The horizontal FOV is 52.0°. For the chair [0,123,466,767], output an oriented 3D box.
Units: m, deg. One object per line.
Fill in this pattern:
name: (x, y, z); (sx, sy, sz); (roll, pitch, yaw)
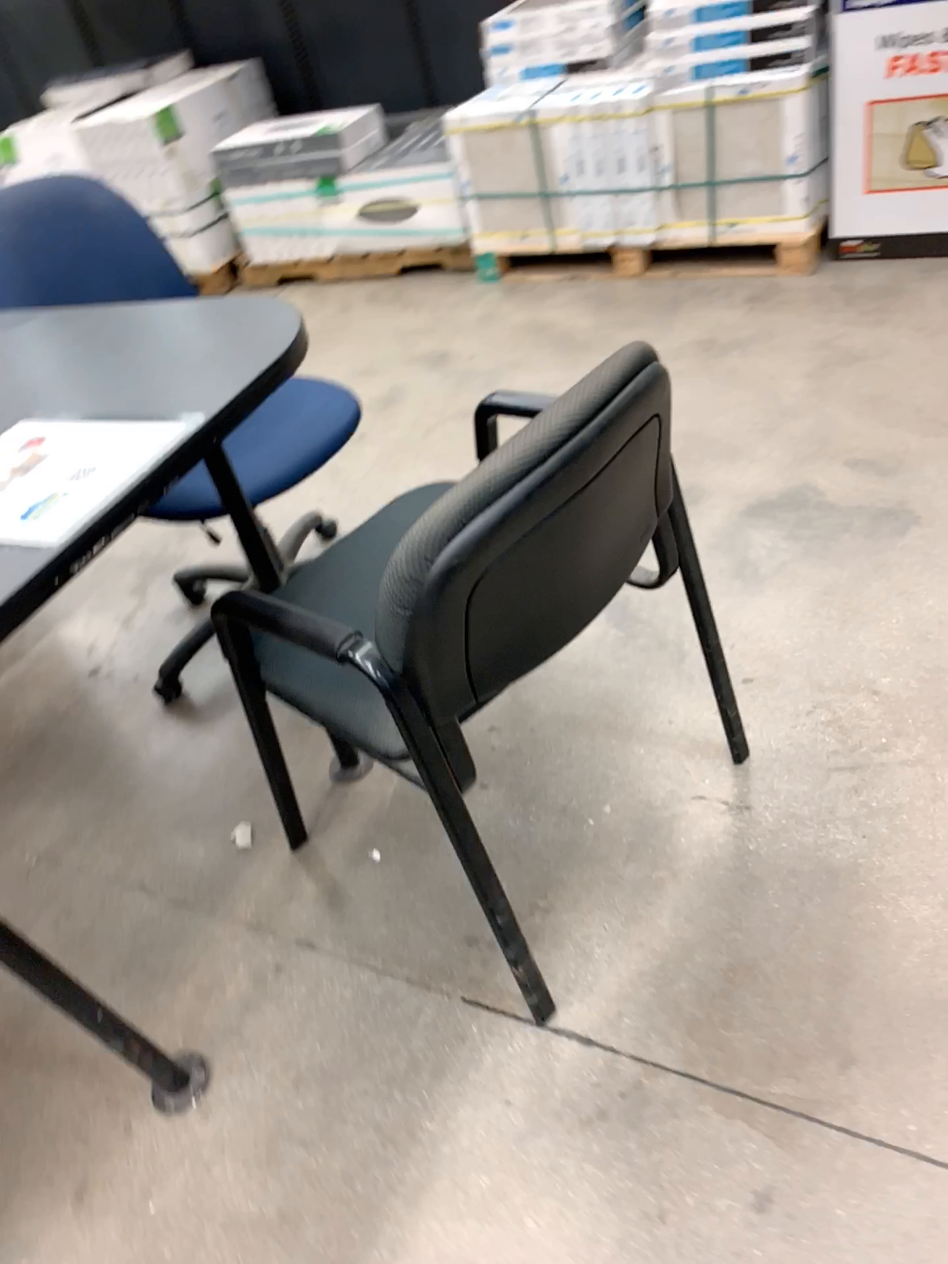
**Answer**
chair: (-0.589, -0.390, 1.914); (0.718, 0.917, 0.644); (22, 52, 38)

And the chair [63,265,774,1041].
chair: (-0.006, -0.010, 1.376); (0.586, 0.749, 0.605); (22, 52, 38)

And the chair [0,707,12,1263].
chair: (-1.064, 0.629, 0.957); (0.638, 0.777, 0.584); (16, 48, 34)
